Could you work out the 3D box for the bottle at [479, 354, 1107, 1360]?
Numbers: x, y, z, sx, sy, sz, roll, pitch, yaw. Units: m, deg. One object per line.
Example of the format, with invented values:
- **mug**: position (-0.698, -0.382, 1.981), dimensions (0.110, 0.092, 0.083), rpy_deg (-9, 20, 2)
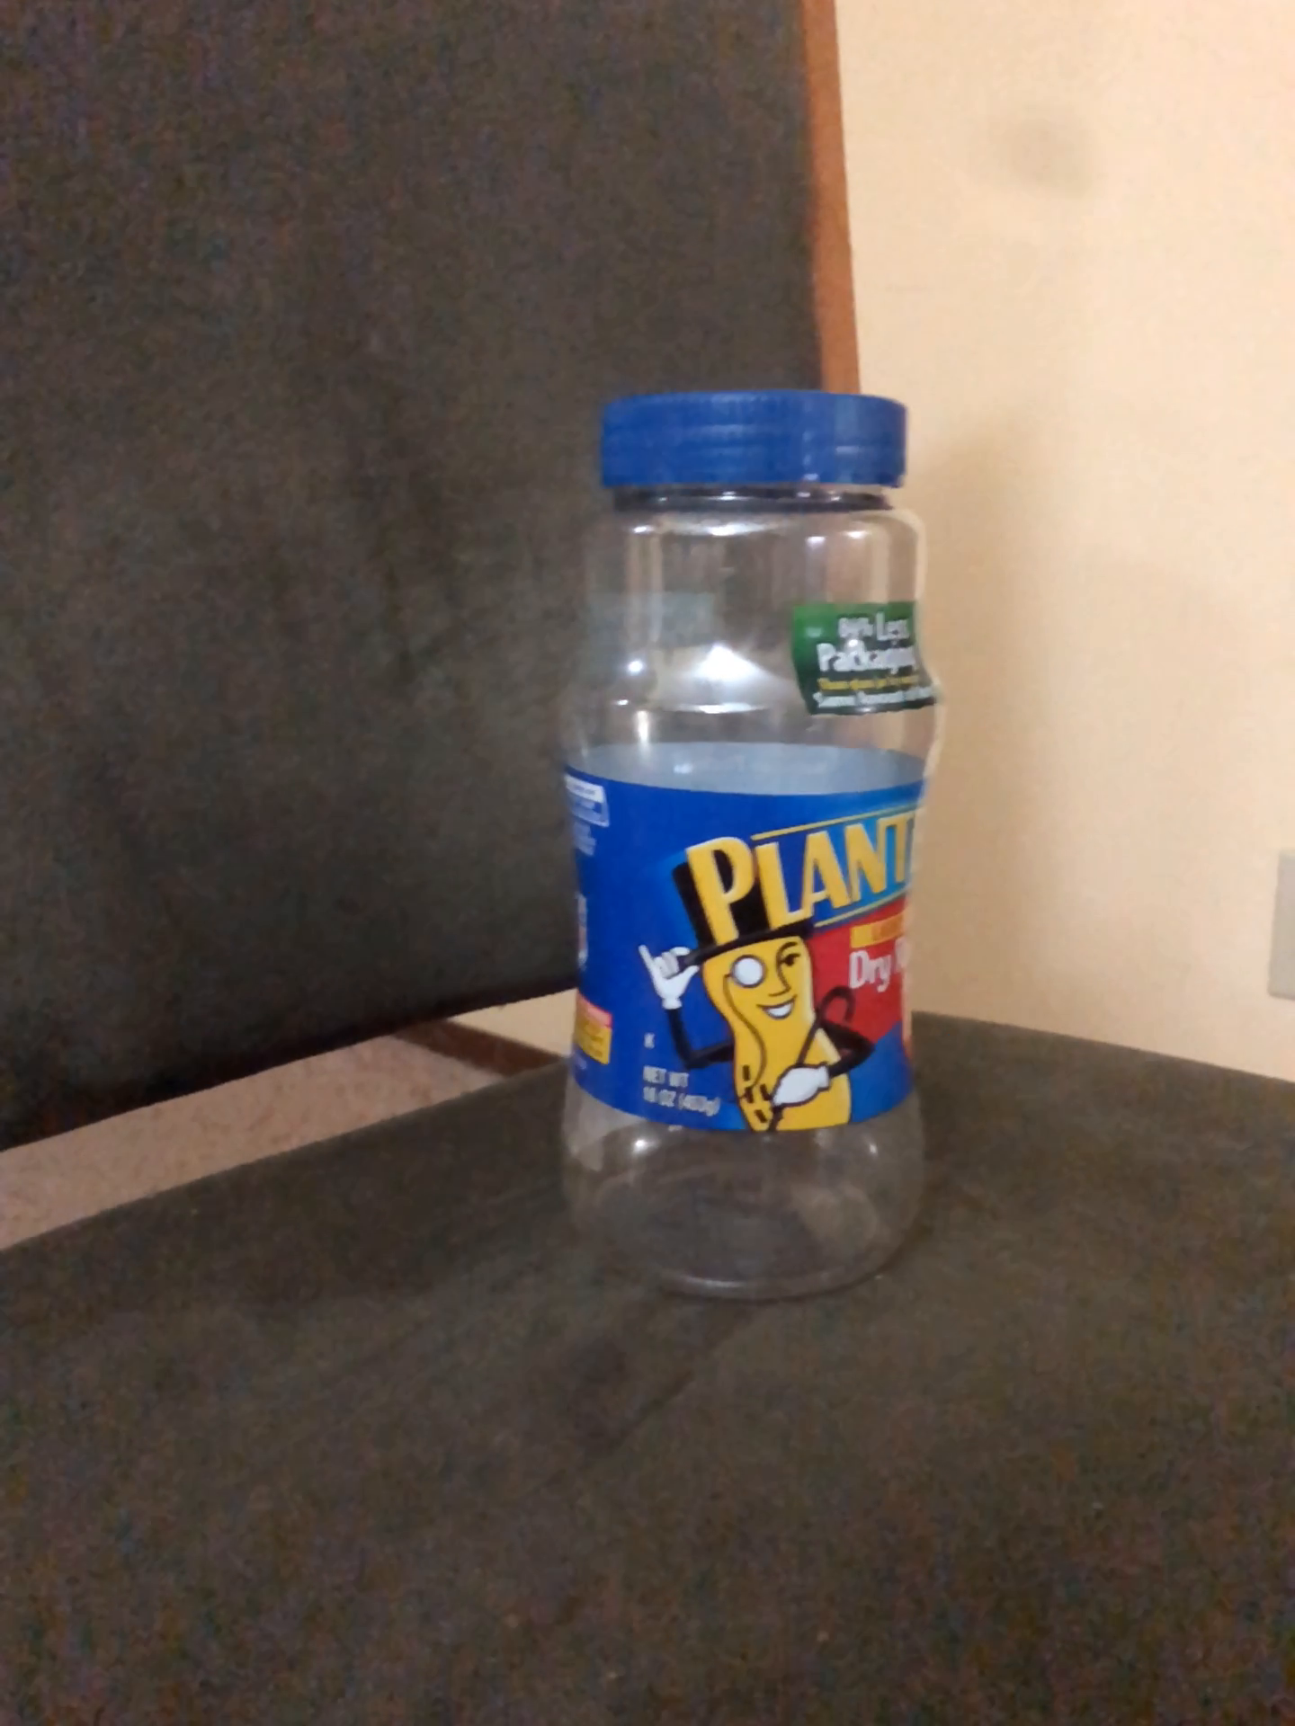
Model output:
- **bottle**: position (0.026, -0.008, 0.296), dimensions (0.090, 0.170, 0.080), rpy_deg (-10, 16, -39)
